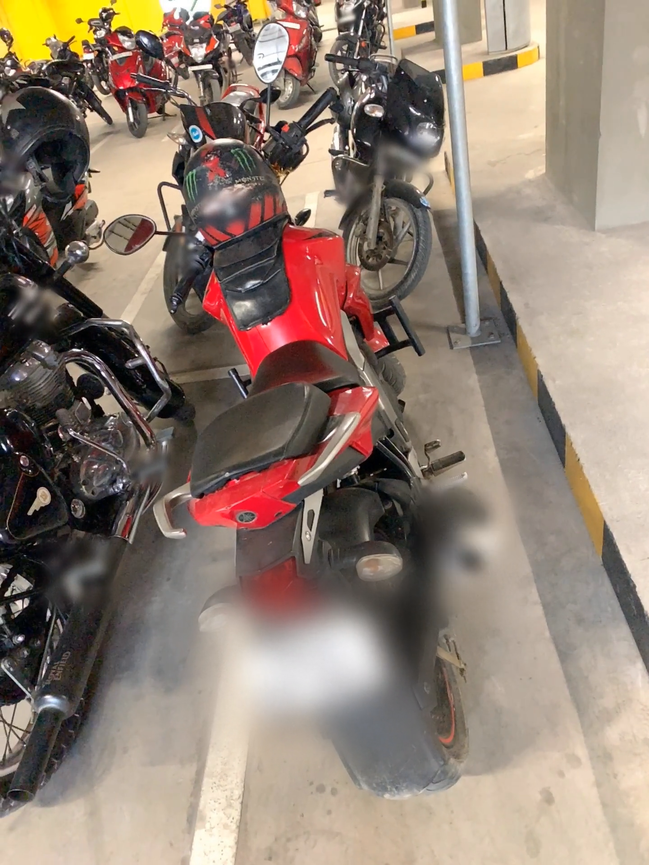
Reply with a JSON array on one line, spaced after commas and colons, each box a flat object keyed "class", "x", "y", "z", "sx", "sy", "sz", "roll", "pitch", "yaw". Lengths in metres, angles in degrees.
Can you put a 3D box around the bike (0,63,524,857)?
[{"class": "bike", "x": -0.227, "y": -0.129, "z": 1.679, "sx": 0.676, "sy": 1.121, "sz": 1.692, "roll": -15, "pitch": 37, "yaw": -3}]
